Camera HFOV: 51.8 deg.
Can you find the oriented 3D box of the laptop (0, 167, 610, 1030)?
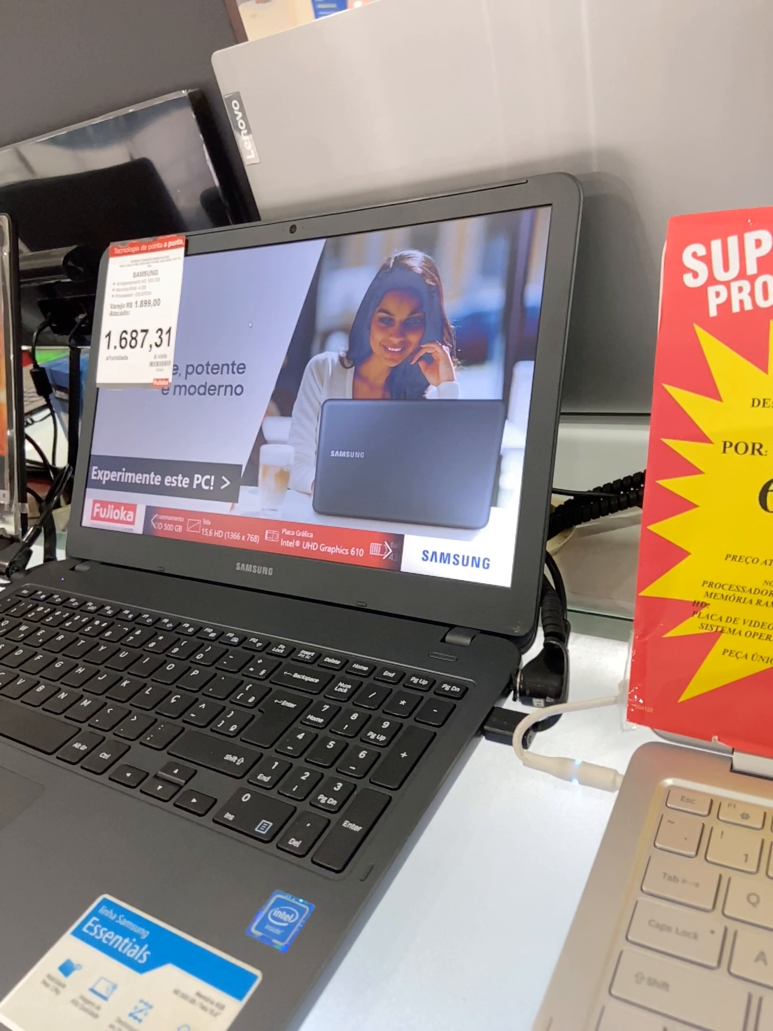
[{"bbox_3d":[-0.136,-0.011,0.401,0.366,0.197,0.371,5,30,34],"label":"laptop"}]
